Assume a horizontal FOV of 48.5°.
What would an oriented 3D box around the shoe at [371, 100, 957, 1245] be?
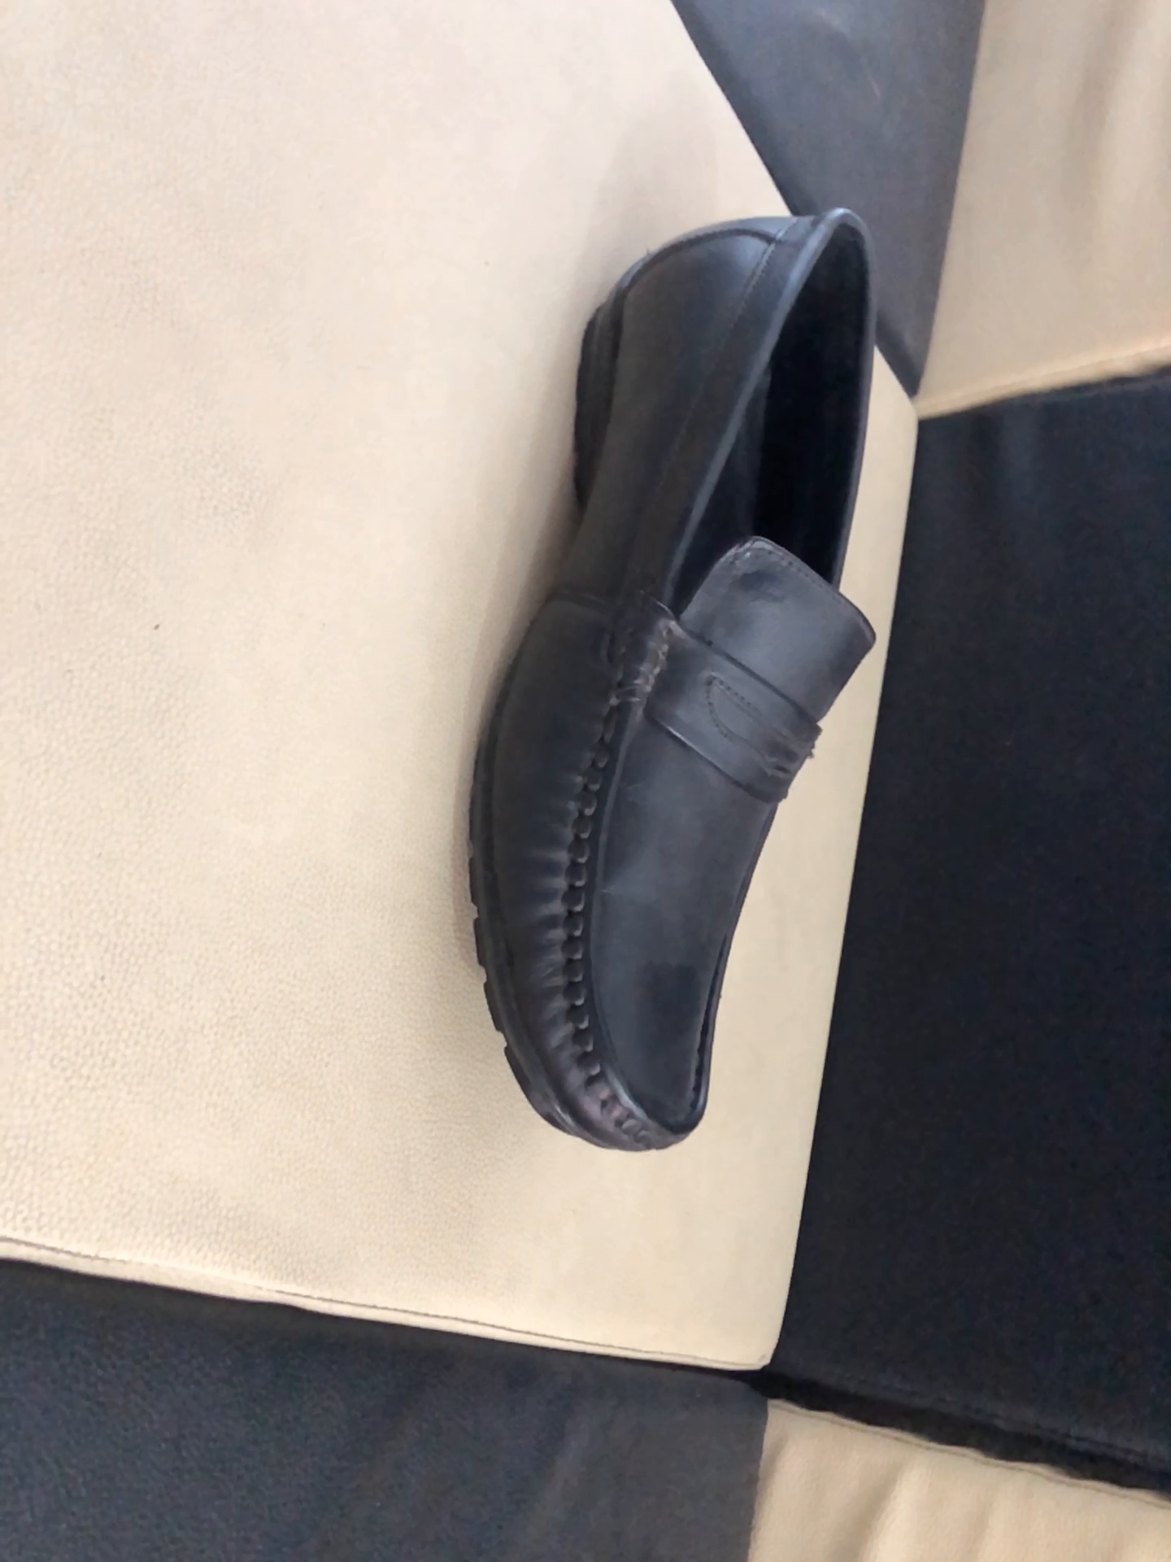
[{"bbox_3d":[0.036,-0.032,0.368,0.101,0.079,0.290,33,61,-47],"label":"shoe"}]
